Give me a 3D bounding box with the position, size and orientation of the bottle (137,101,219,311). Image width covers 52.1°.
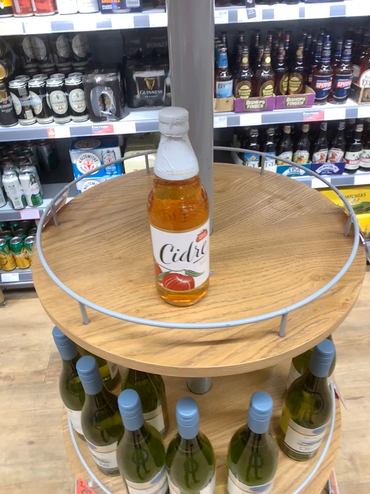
[{"bbox_3d":[-0.005,-0.035,0.417,0.069,0.218,0.071,-2,37,1],"label":"bottle"}]
